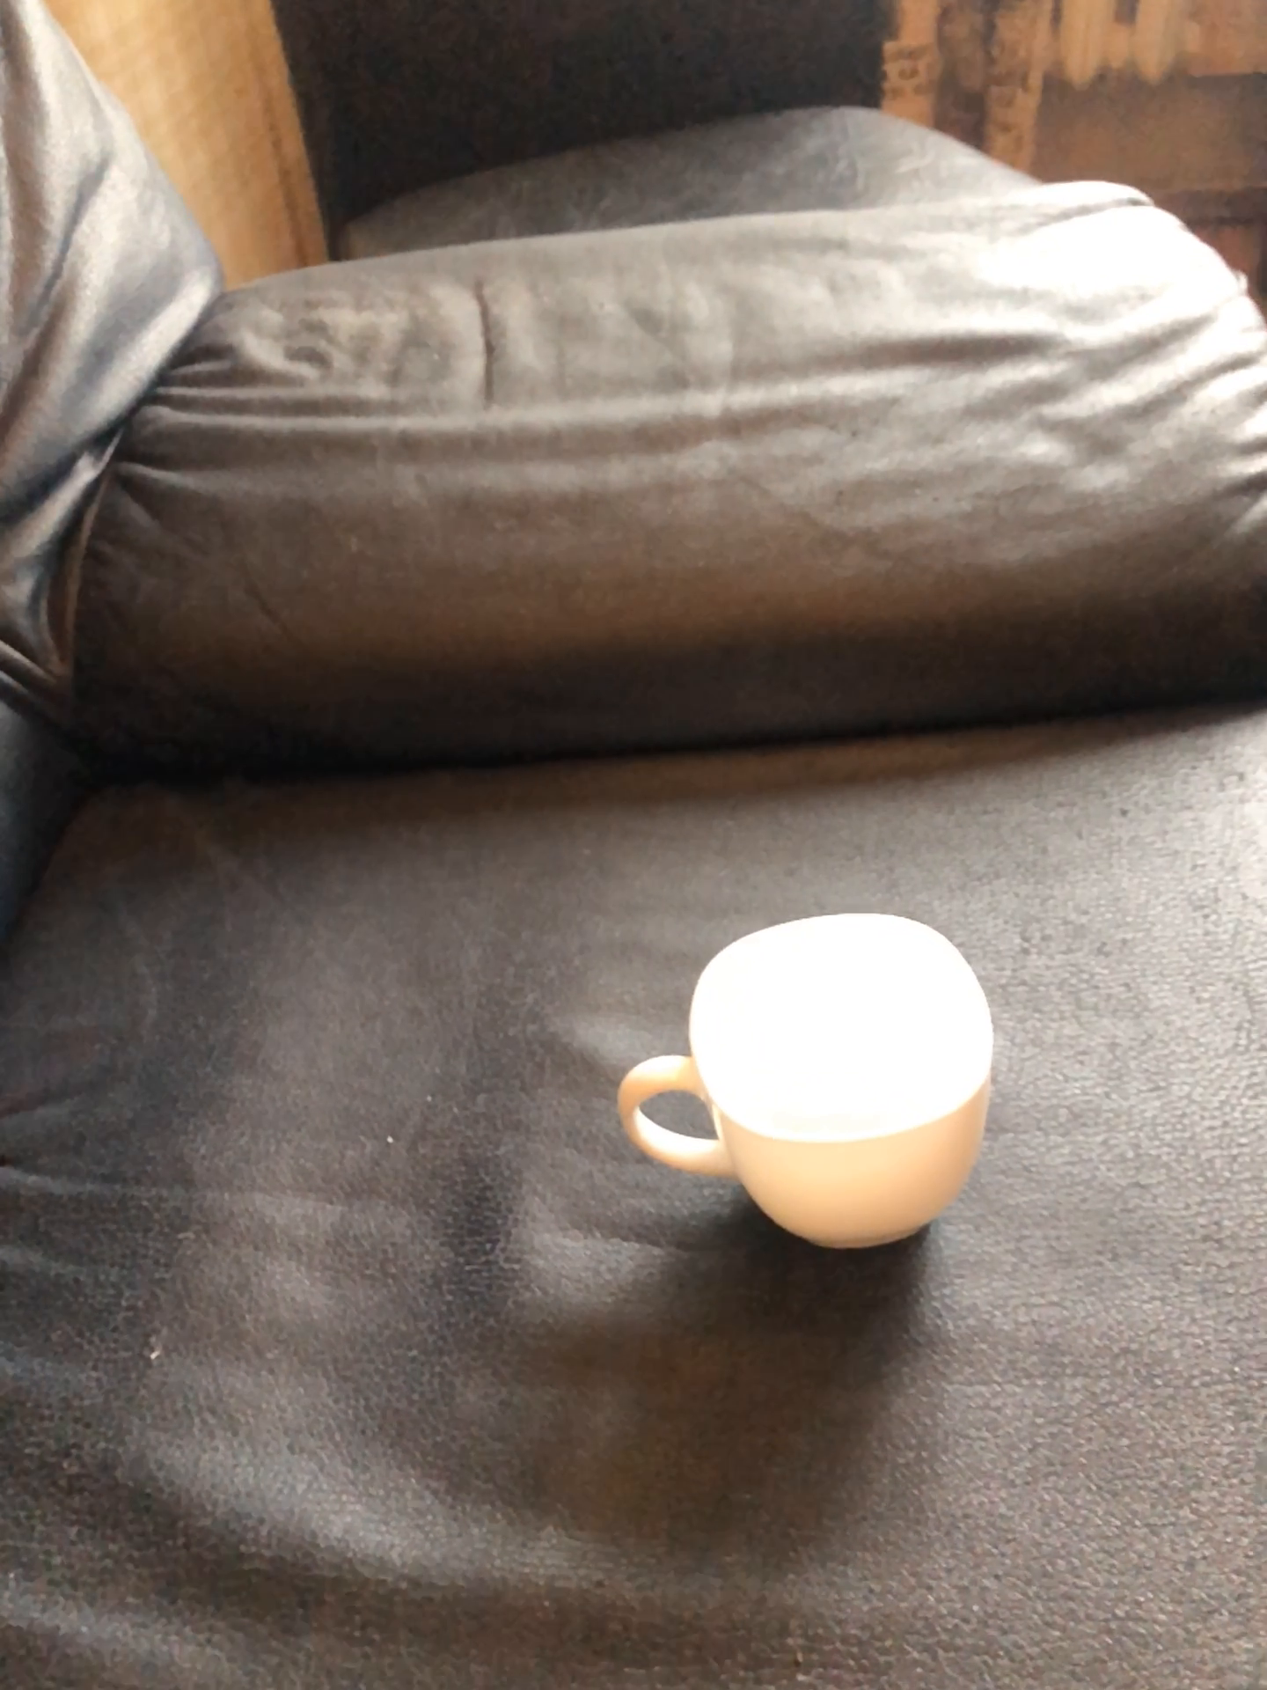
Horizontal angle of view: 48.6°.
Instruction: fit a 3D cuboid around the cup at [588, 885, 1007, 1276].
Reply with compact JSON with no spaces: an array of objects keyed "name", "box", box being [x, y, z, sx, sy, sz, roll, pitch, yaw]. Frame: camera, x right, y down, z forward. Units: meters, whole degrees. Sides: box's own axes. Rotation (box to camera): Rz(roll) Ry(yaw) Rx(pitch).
[{"name":"cup","box":[0.044,0.065,0.390,0.101,0.063,0.081,-4,41,6]}]
